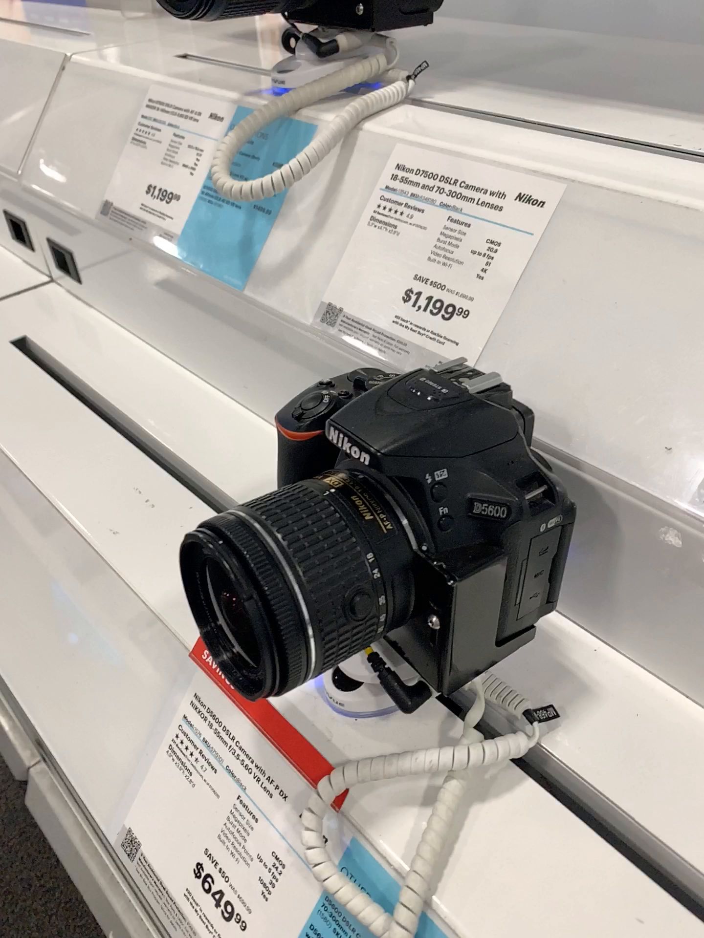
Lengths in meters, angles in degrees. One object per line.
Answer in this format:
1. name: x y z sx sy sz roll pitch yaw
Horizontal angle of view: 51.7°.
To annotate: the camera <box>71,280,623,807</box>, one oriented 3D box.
1. camera: -0.006 0.010 0.257 0.120 0.090 0.131 -25 43 -31
